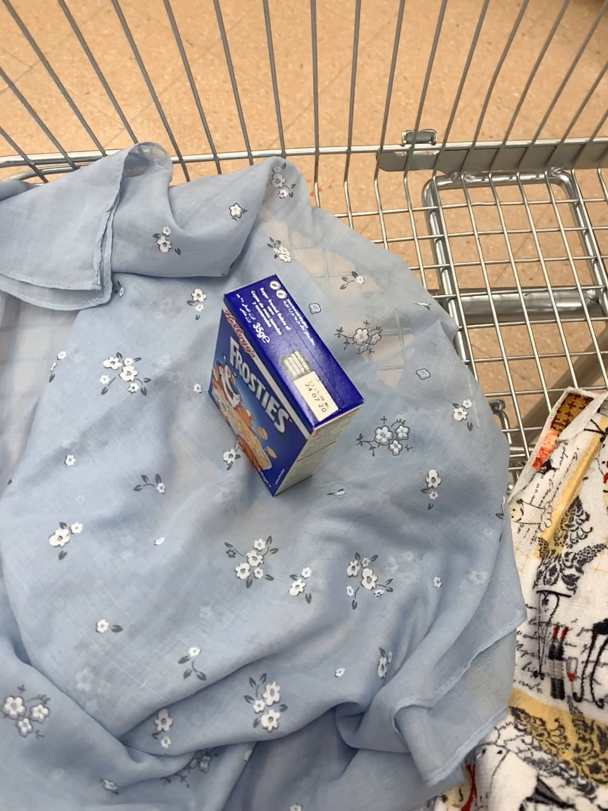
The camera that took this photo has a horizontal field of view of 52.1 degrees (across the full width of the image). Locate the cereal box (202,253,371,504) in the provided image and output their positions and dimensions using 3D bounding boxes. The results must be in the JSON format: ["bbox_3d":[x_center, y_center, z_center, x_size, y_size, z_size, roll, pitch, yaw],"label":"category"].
[{"bbox_3d":[-0.020,-0.010,0.384,0.040,0.129,0.100,-27,72,-21],"label":"cereal box"}]
